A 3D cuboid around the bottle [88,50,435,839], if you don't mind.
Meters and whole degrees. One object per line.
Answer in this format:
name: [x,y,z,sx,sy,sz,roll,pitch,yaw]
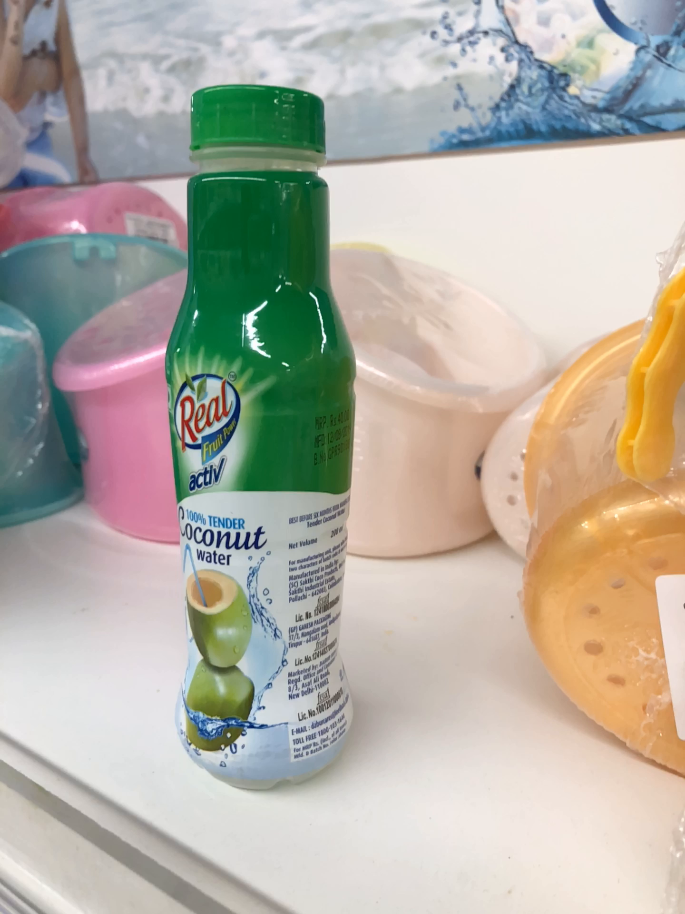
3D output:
bottle: [-0.018,-0.002,0.209,0.060,0.179,0.060,0,15,0]
